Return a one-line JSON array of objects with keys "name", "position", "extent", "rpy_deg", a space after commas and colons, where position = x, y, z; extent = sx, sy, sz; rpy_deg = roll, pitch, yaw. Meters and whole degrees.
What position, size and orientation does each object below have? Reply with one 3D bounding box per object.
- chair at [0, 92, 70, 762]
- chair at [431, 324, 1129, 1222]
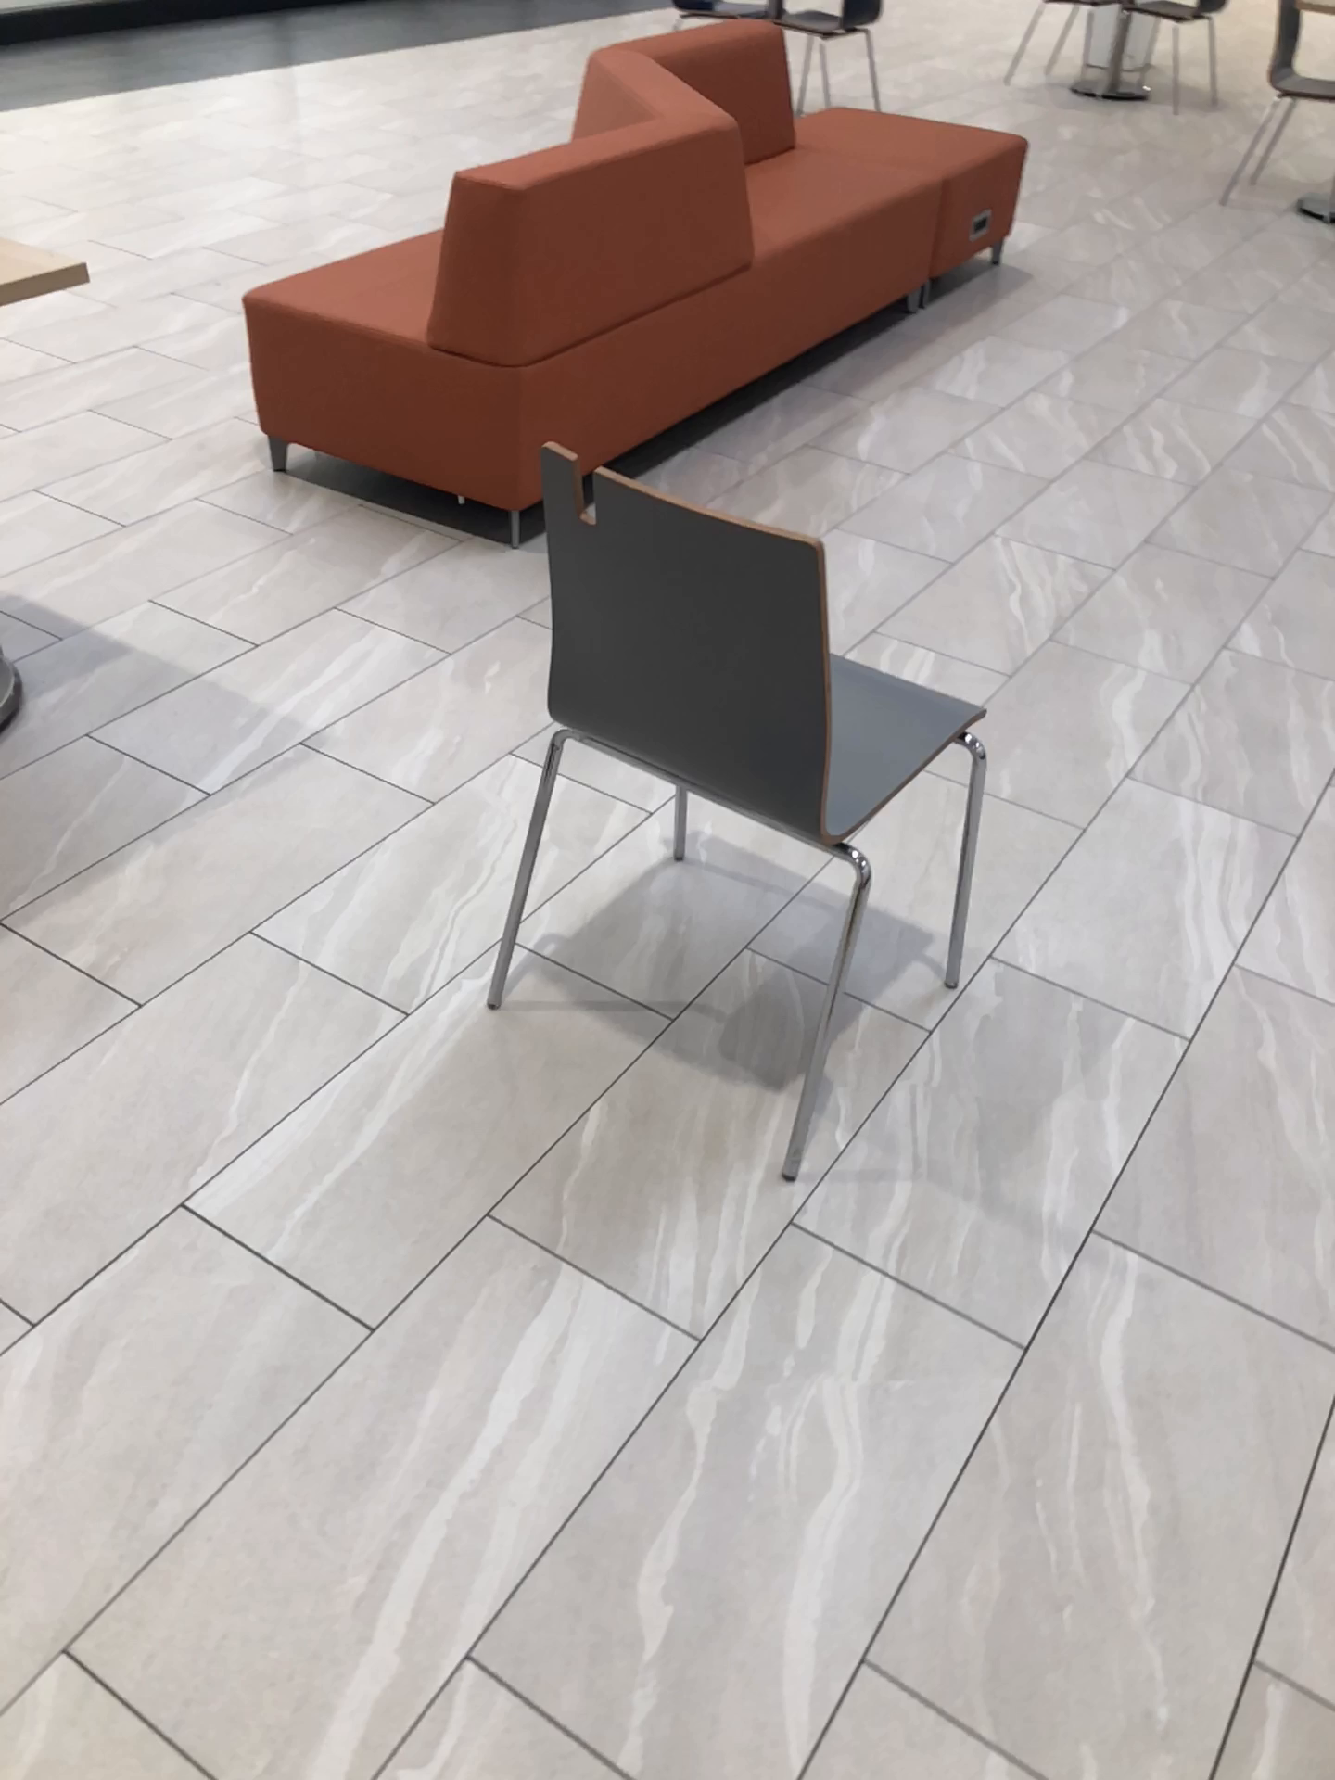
[{"name": "chair", "position": [-1.379, -0.728, 2.254], "extent": [0.536, 0.777, 0.516], "rpy_deg": [30, 44, 30]}, {"name": "chair", "position": [0.110, -0.154, 1.730], "extent": [0.525, 0.787, 0.517], "rpy_deg": [24, 42, 25]}]
